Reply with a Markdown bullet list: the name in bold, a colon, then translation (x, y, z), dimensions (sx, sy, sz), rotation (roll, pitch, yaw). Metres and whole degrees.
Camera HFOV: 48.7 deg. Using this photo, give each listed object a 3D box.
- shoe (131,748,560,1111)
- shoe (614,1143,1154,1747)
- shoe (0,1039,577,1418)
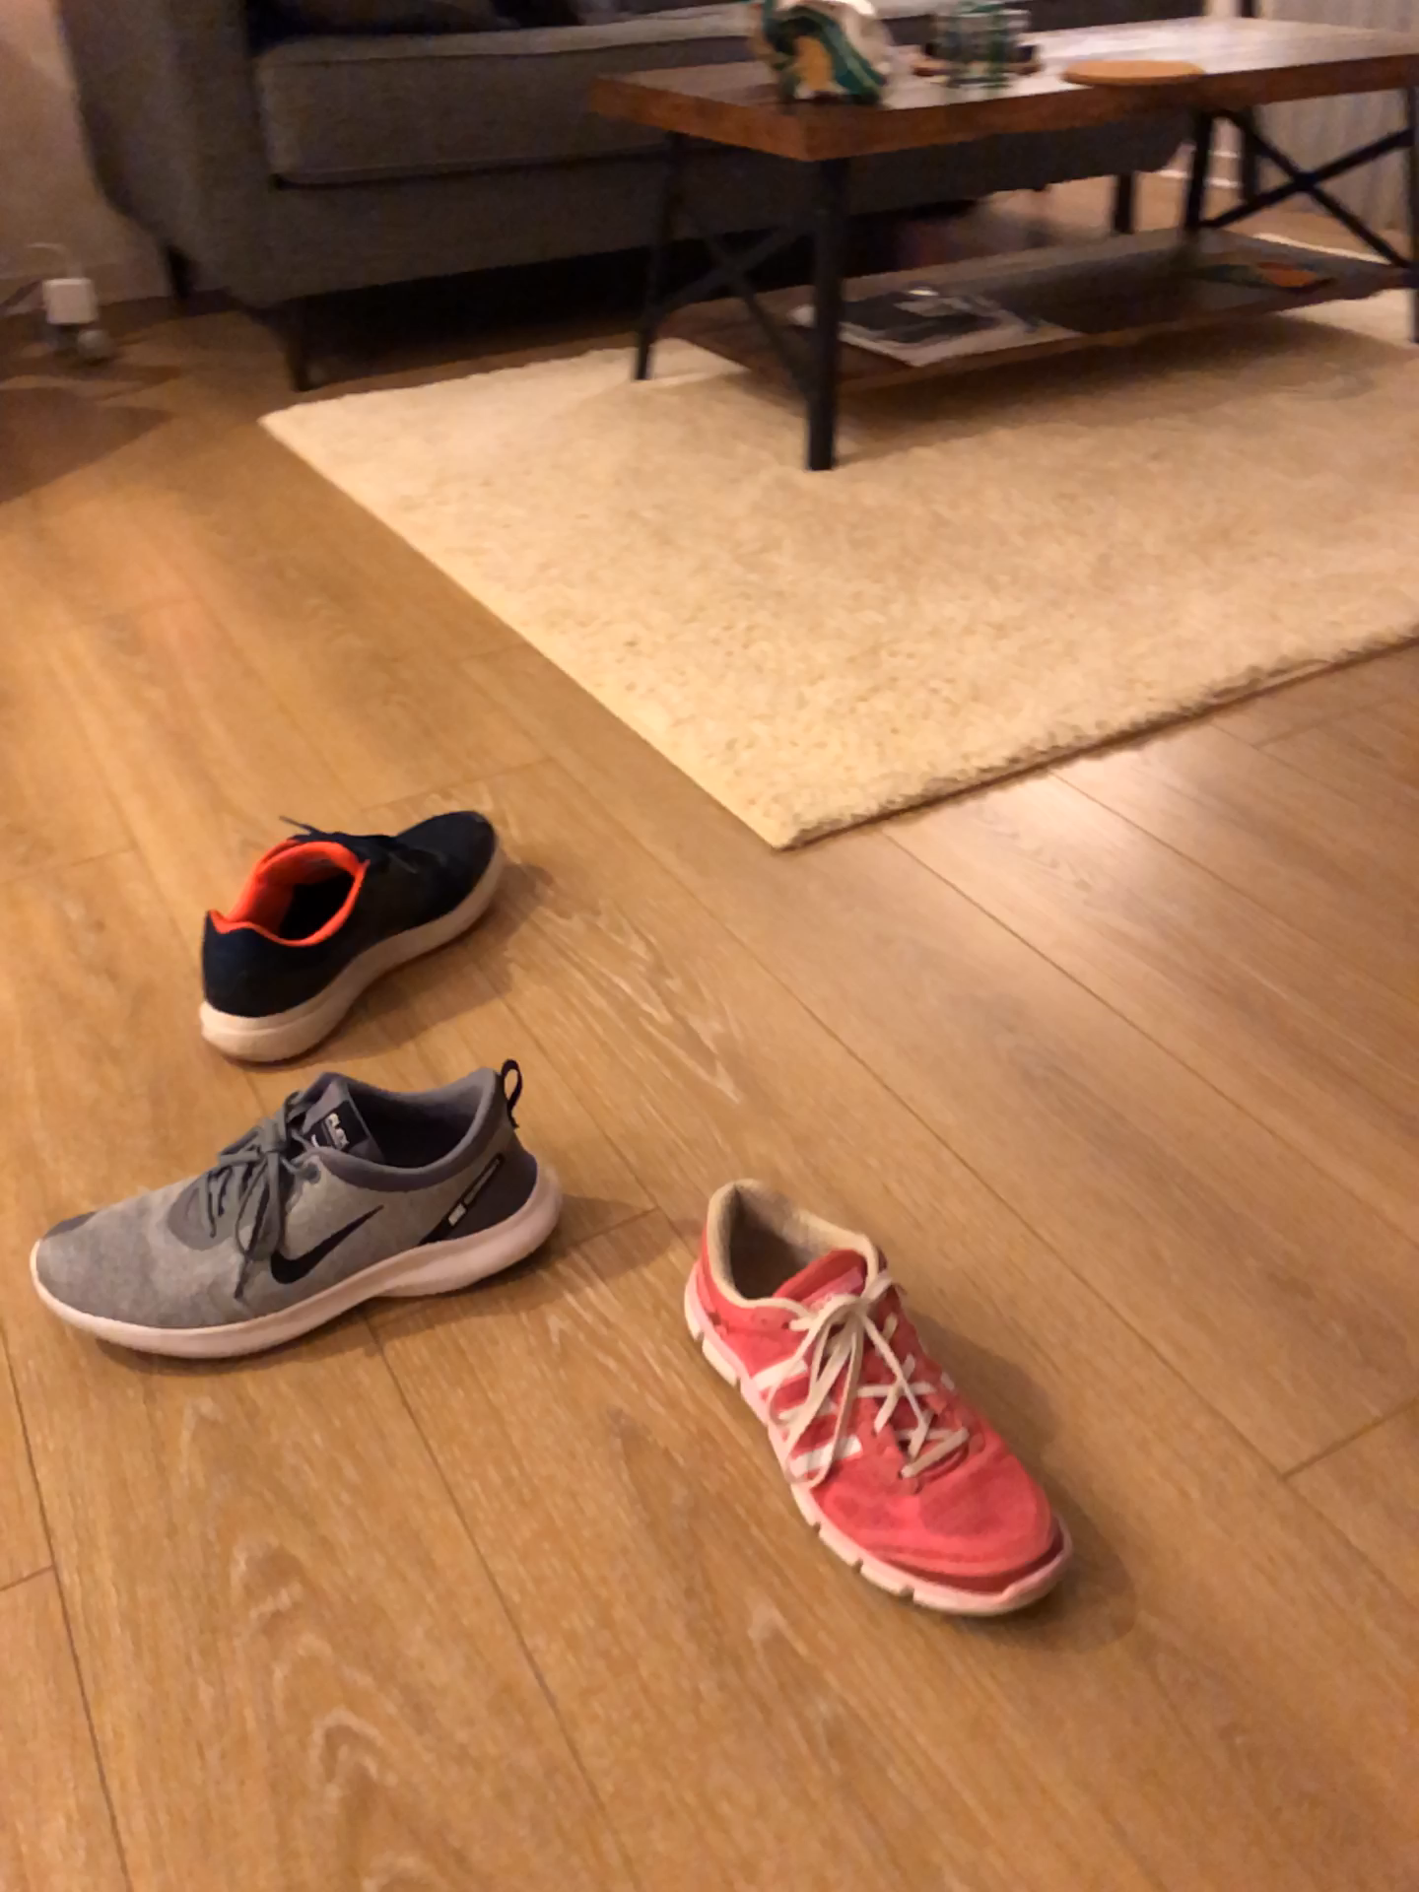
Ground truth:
- **shoe**: translation (-0.261, -0.026, 1.190), dimensions (0.130, 0.099, 0.322), rotation (16, 38, 25)
- **shoe**: translation (0.077, 0.240, 0.812), dimensions (0.120, 0.099, 0.281), rotation (-22, 39, -26)
- **shoe**: translation (-0.249, 0.159, 0.916), dimensions (0.320, 0.099, 0.131), rotation (-9, 35, -10)
